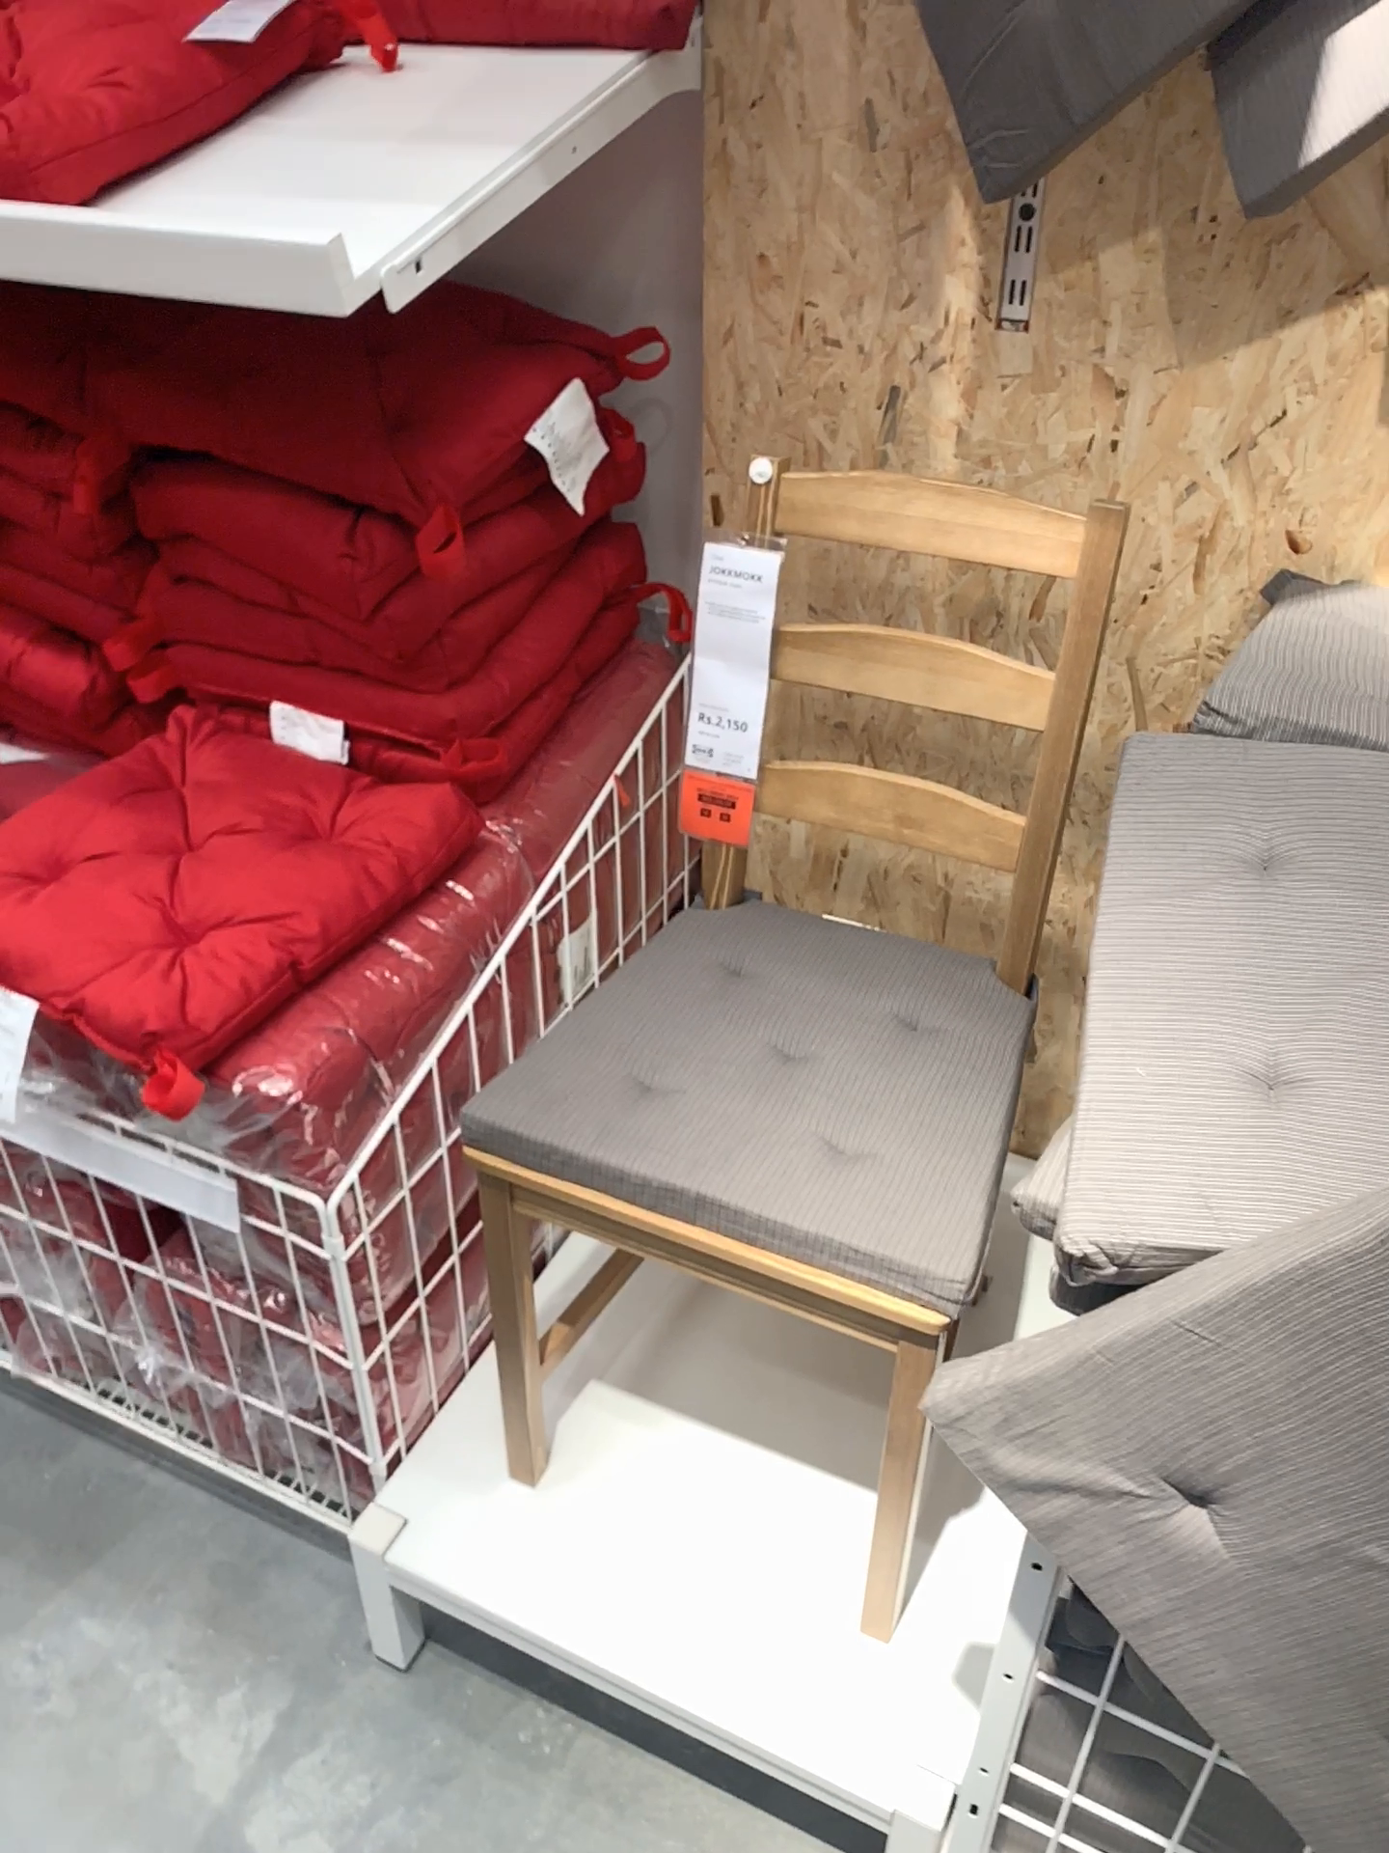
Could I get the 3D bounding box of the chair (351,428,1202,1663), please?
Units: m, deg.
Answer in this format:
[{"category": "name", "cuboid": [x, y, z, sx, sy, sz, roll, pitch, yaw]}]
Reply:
[{"category": "chair", "cuboid": [0.091, 0.097, 1.247, 0.440, 0.866, 0.502, 15, 38, 21]}]
